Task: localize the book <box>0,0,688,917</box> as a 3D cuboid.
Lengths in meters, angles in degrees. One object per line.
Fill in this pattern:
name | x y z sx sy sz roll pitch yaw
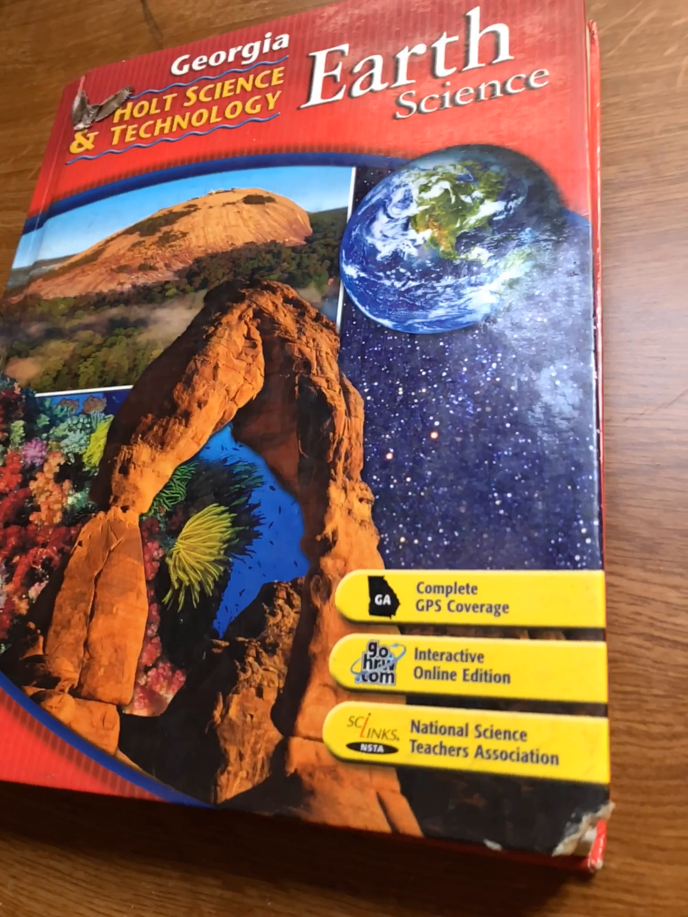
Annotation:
book | -0.017 -0.027 0.229 0.215 0.050 0.266 -2 67 20
